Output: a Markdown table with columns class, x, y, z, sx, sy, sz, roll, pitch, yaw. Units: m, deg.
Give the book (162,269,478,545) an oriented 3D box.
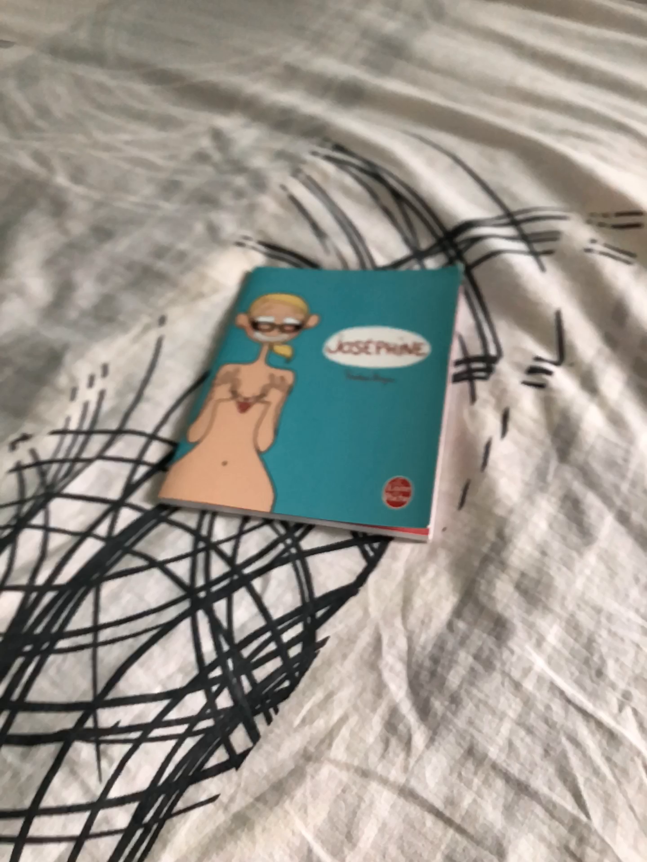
| class | x | y | z | sx | sy | sz | roll | pitch | yaw |
| --- | --- | --- | --- | --- | --- | --- | --- | --- | --- |
| book | 0.008 | -0.027 | 0.417 | 0.144 | 0.014 | 0.188 | 4 | 51 | 14 |
